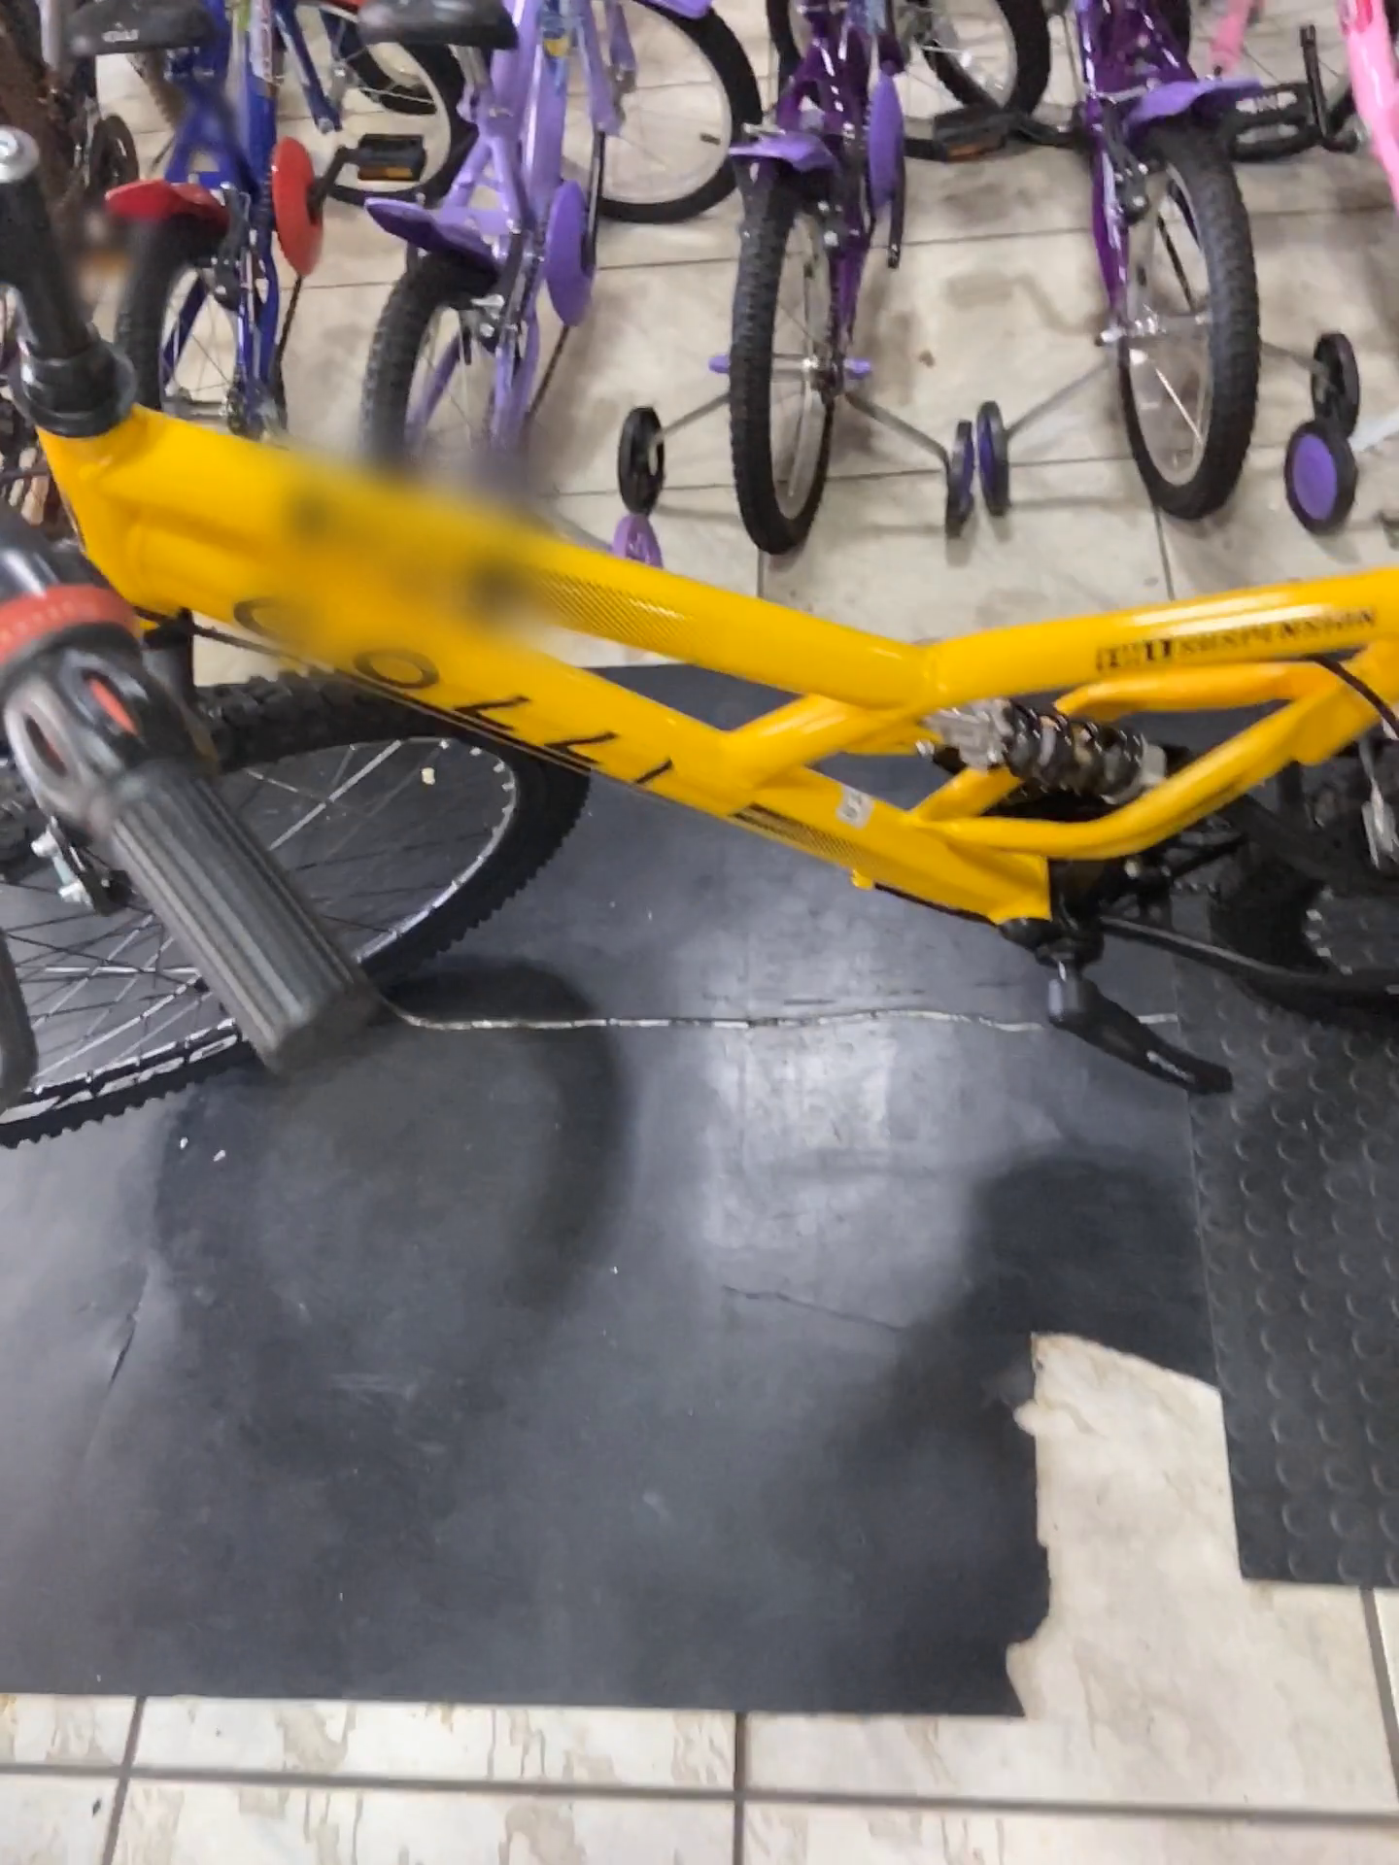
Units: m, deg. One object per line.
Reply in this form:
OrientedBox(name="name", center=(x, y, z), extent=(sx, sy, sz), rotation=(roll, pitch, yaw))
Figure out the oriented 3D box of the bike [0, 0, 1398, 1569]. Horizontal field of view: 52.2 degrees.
OrientedBox(name="bike", center=(0.134, -0.095, 0.675), extent=(1.520, 0.988, 0.477), rotation=(-5, 57, 2))
